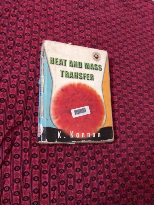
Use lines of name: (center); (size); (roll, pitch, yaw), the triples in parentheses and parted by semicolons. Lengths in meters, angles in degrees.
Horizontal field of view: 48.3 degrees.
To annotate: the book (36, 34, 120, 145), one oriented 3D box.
book: (0.003, -0.027, 0.417); (0.185, 0.039, 0.249); (4, 74, -20)
